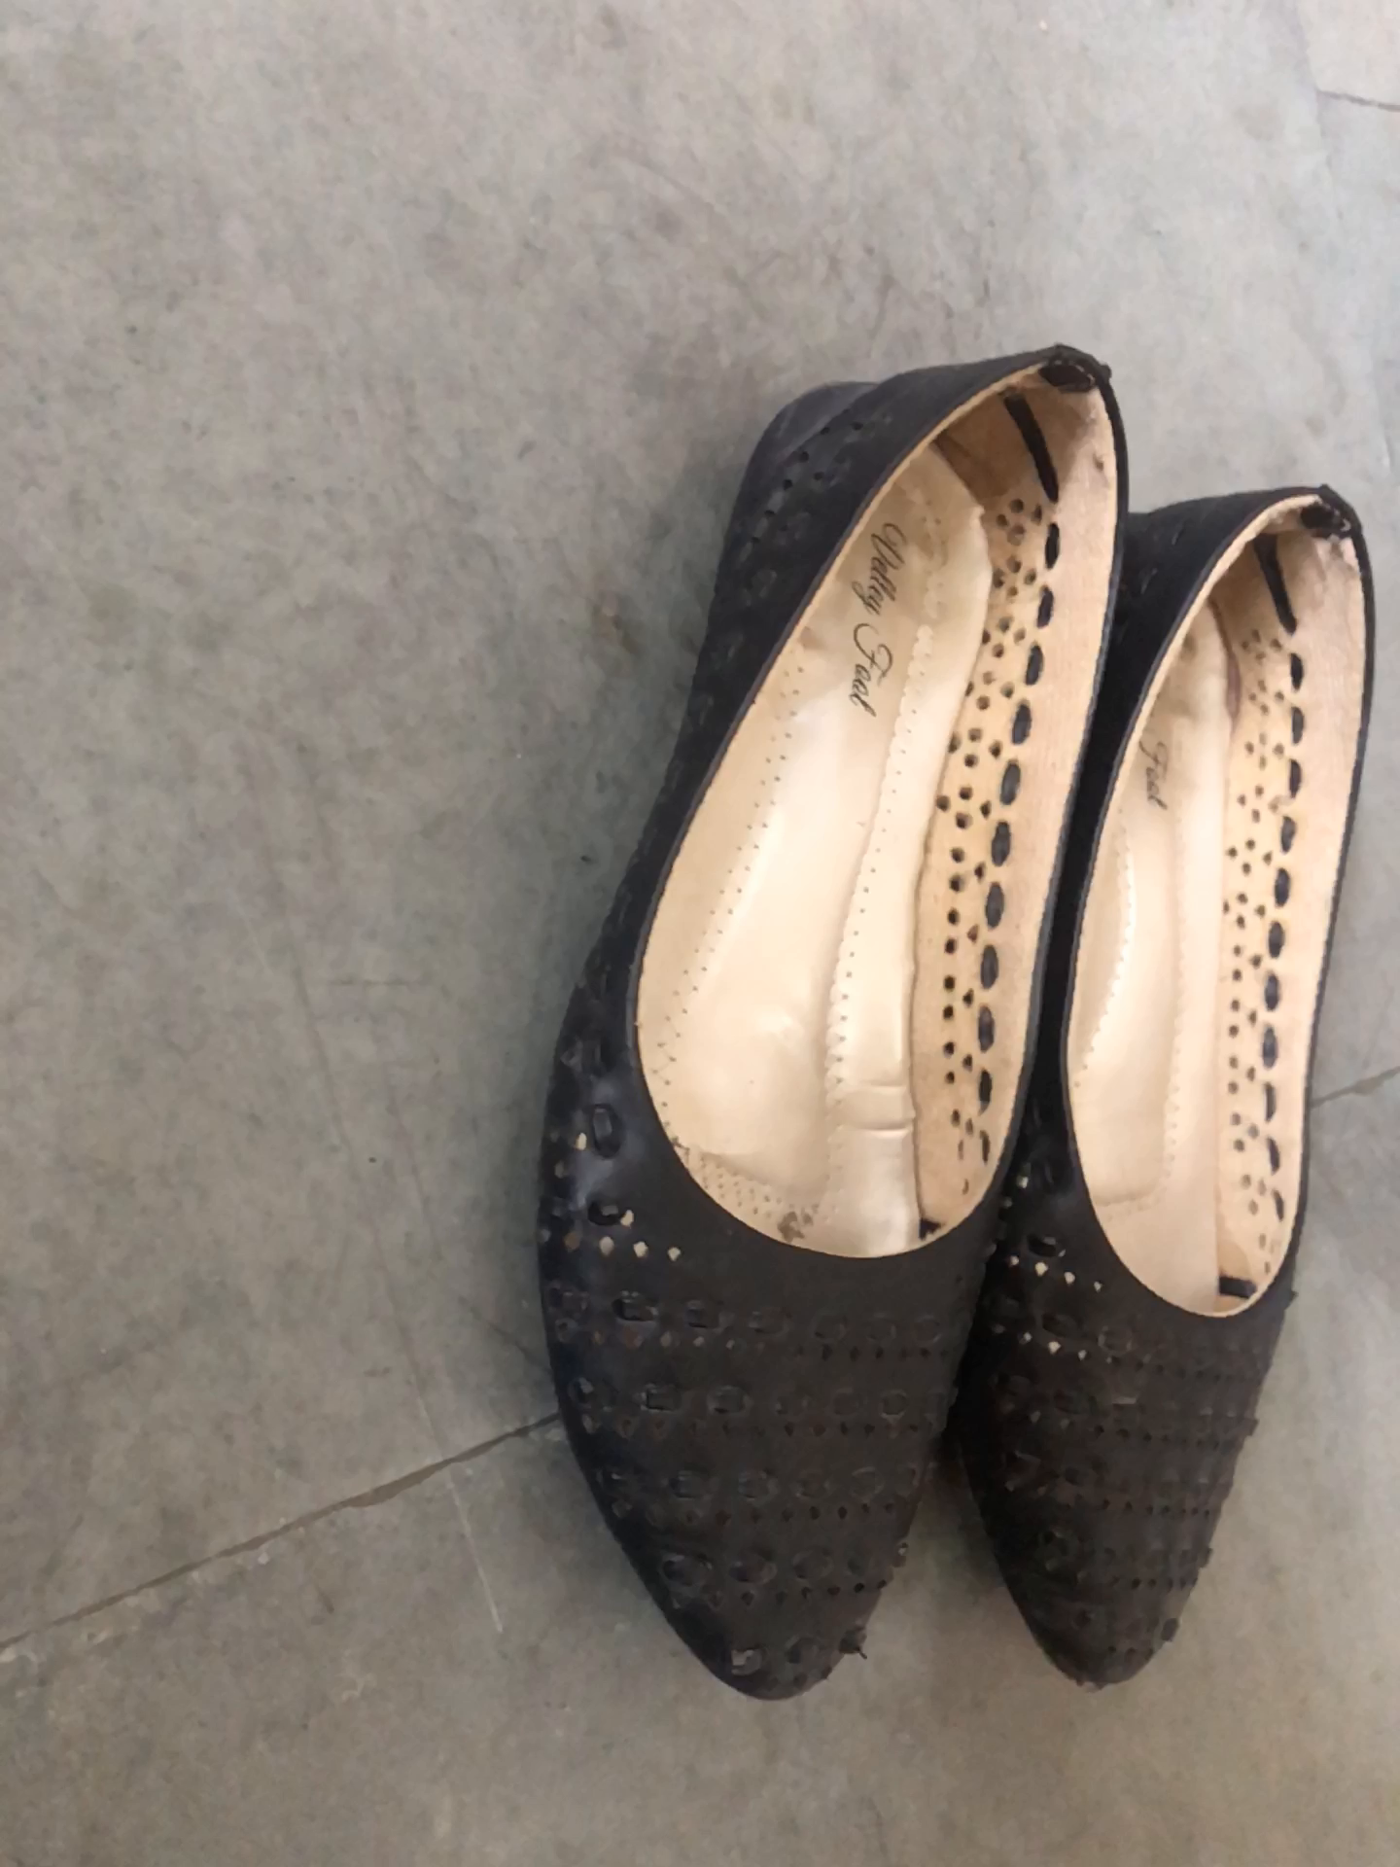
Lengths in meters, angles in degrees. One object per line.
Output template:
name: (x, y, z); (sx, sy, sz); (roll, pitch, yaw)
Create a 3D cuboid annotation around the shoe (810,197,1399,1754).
shoe: (0.101, 0.008, 0.330); (0.100, 0.070, 0.280); (15, 76, -32)

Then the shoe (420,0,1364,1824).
shoe: (0.038, -0.005, 0.275); (0.100, 0.070, 0.270); (15, 81, -32)
